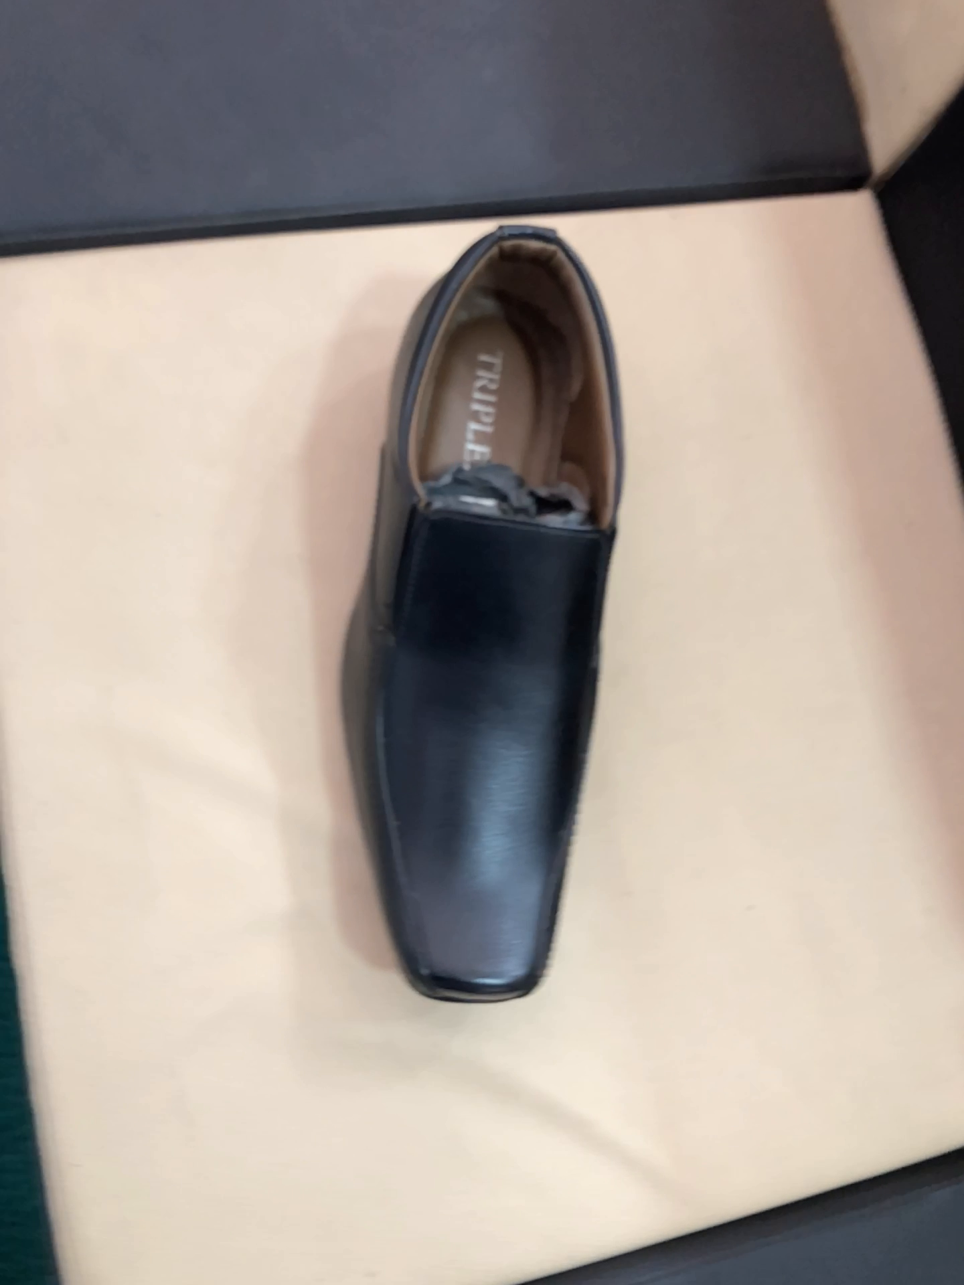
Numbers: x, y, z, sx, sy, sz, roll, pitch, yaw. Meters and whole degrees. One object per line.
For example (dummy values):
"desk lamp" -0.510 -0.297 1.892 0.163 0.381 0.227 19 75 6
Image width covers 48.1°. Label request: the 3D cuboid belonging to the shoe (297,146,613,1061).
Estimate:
"shoe" -0.012 -0.014 0.412 0.090 0.100 0.310 5 78 -10
